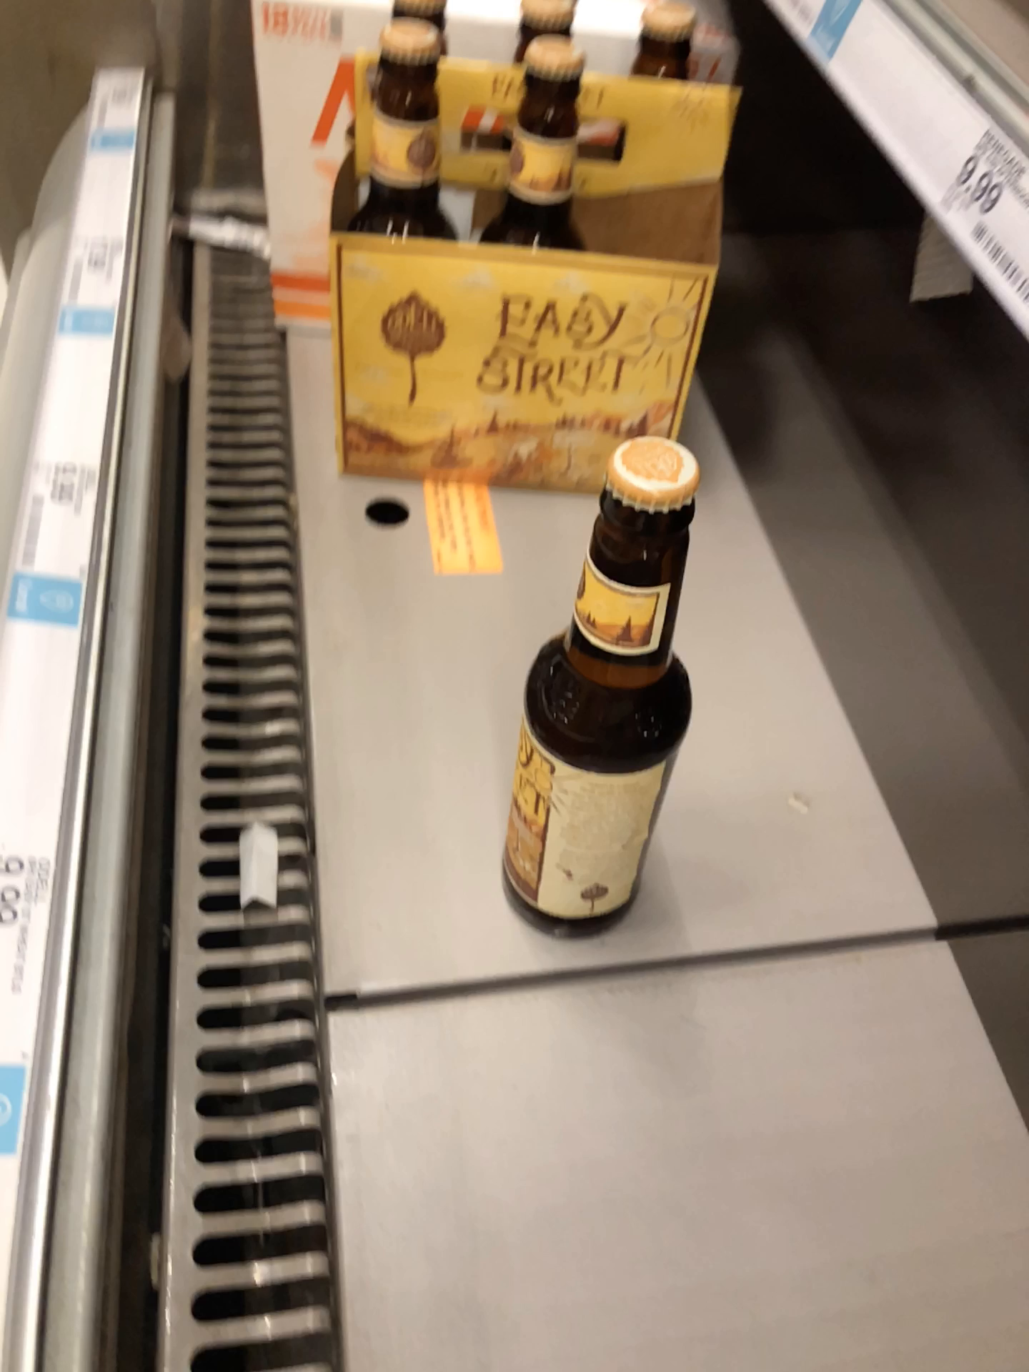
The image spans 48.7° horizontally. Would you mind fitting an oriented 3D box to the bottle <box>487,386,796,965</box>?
[{"bbox_3d":[0.037,0.013,0.412,0.070,0.229,0.066,3,49,-3],"label":"bottle"}]
